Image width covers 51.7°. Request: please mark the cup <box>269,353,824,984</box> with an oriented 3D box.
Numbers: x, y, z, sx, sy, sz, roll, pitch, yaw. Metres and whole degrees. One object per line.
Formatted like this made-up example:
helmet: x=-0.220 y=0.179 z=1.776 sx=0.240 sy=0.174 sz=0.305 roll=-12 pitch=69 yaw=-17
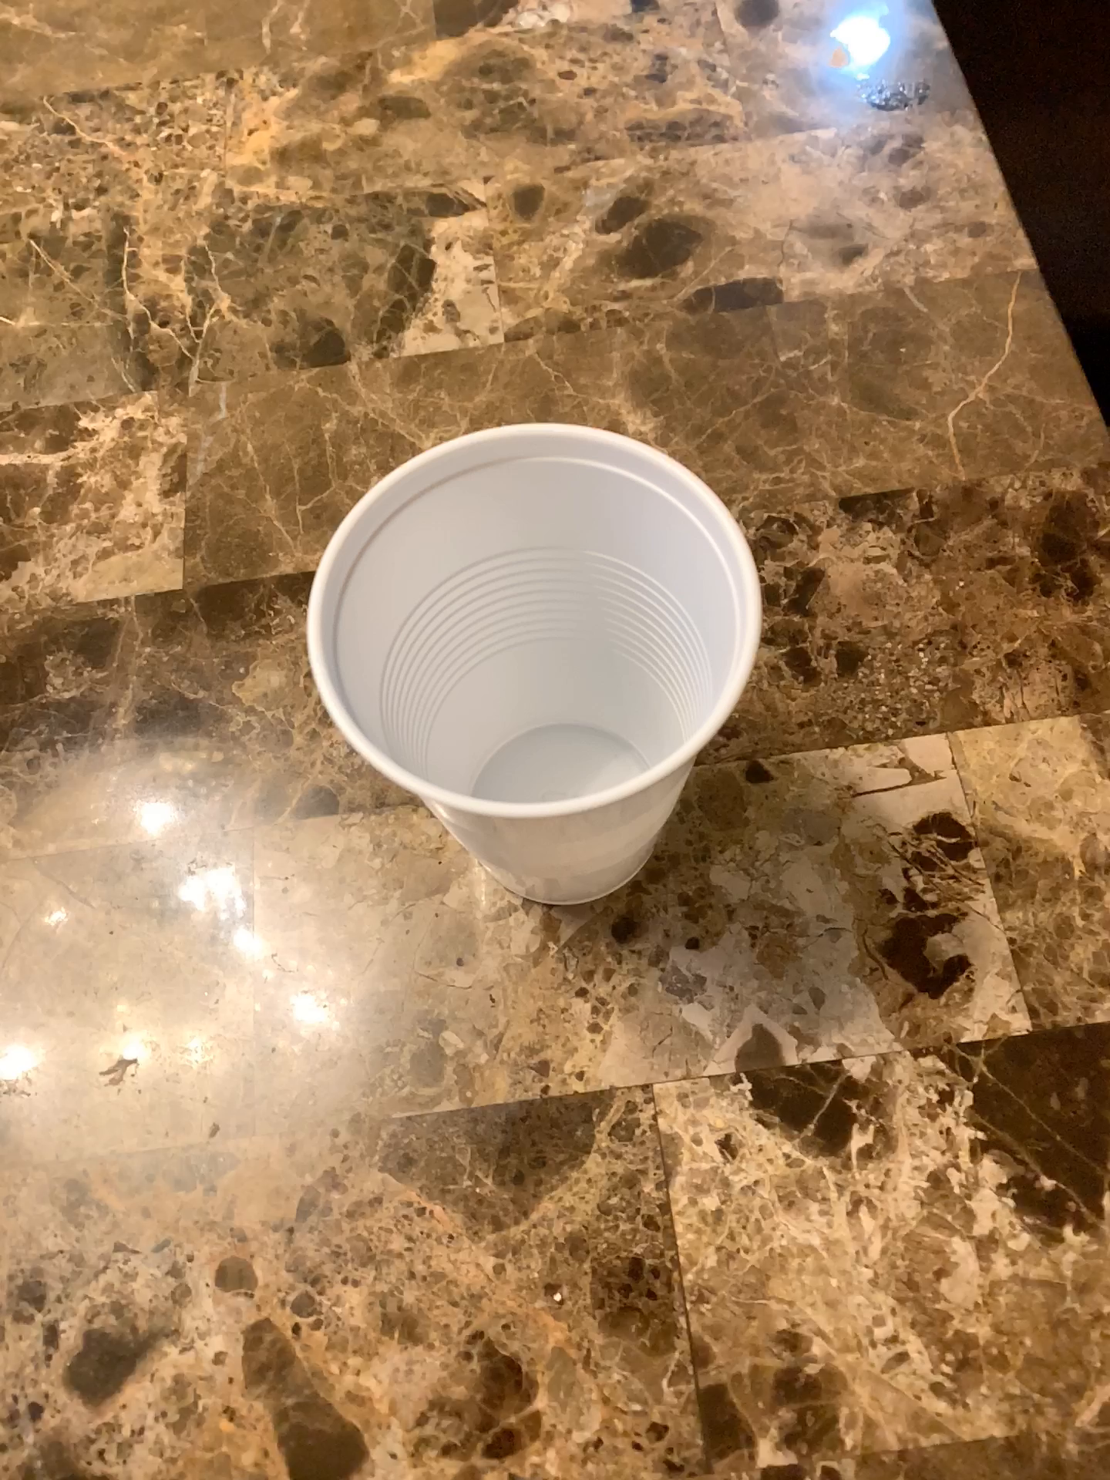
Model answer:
cup: x=-0.002 y=-0.010 z=0.234 sx=0.077 sy=0.084 sz=0.082 roll=-2 pitch=64 yaw=4
